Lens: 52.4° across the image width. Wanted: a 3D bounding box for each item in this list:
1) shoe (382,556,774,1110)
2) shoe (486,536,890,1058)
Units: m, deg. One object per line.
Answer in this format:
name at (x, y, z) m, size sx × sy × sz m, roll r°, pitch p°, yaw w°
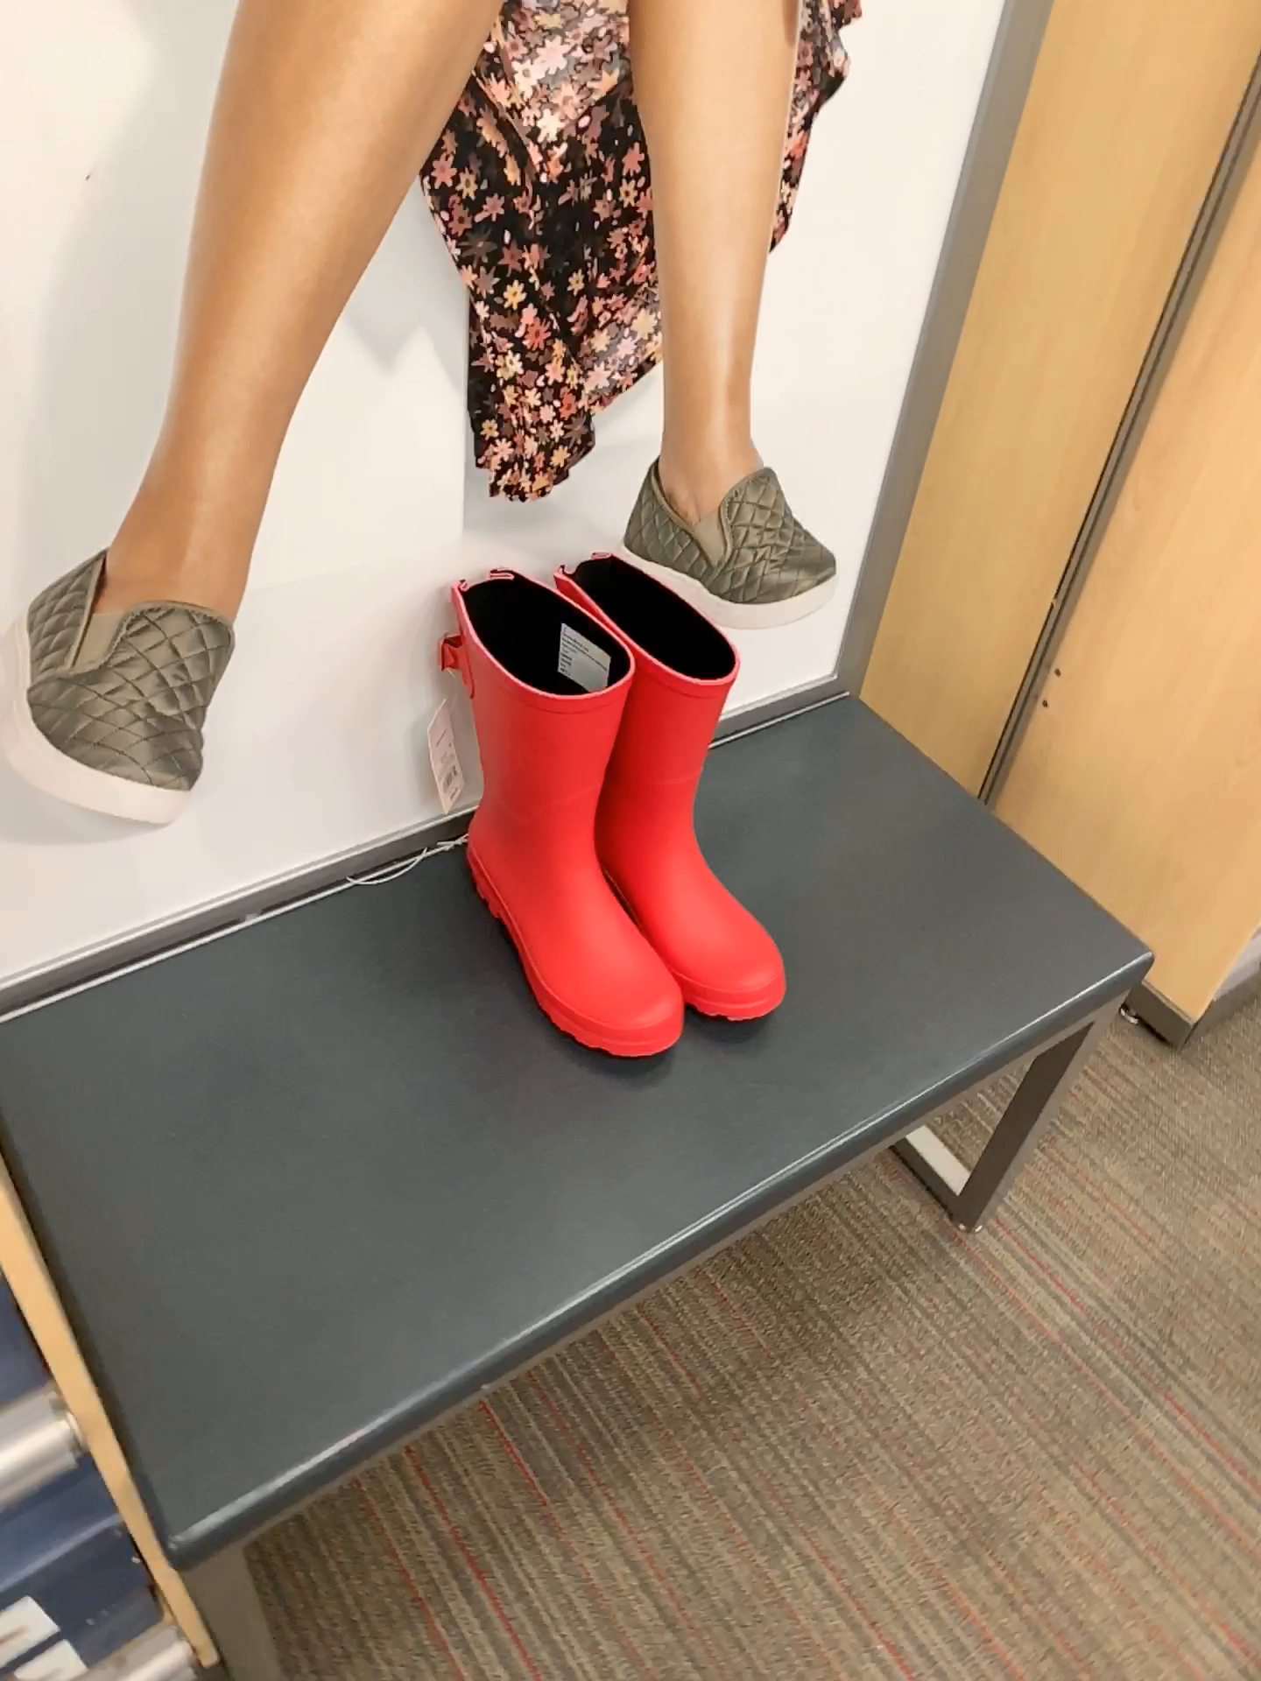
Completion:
shoe at (-0.052, -0.008, 0.877) m, size 0.106 × 0.249 × 0.271 m, roll -24°, pitch 52°, yaw -29°
shoe at (0.021, -0.034, 0.923) m, size 0.106 × 0.249 × 0.271 m, roll -27°, pitch 54°, yaw -31°
